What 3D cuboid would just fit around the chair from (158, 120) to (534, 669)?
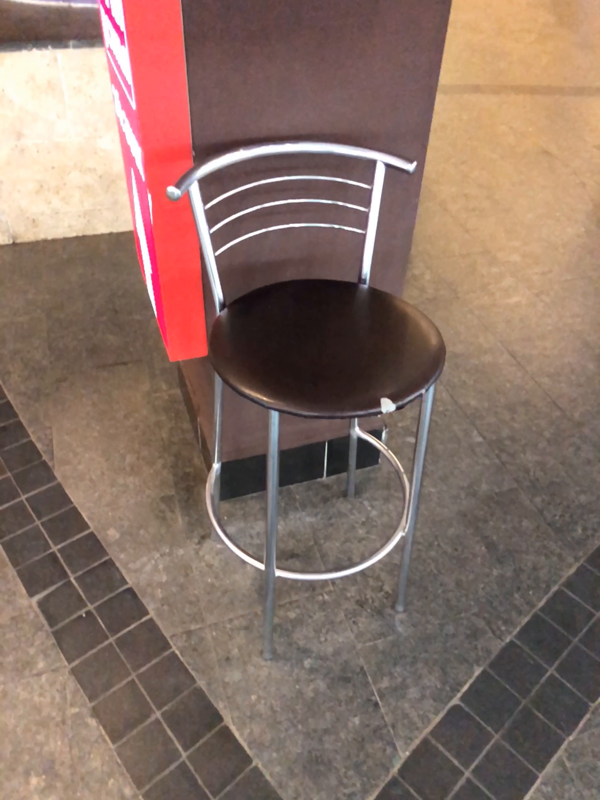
[{"bbox_3d":[0.027,0.031,1.260,0.411,0.936,0.411,-14,44,-18],"label":"chair"}]
